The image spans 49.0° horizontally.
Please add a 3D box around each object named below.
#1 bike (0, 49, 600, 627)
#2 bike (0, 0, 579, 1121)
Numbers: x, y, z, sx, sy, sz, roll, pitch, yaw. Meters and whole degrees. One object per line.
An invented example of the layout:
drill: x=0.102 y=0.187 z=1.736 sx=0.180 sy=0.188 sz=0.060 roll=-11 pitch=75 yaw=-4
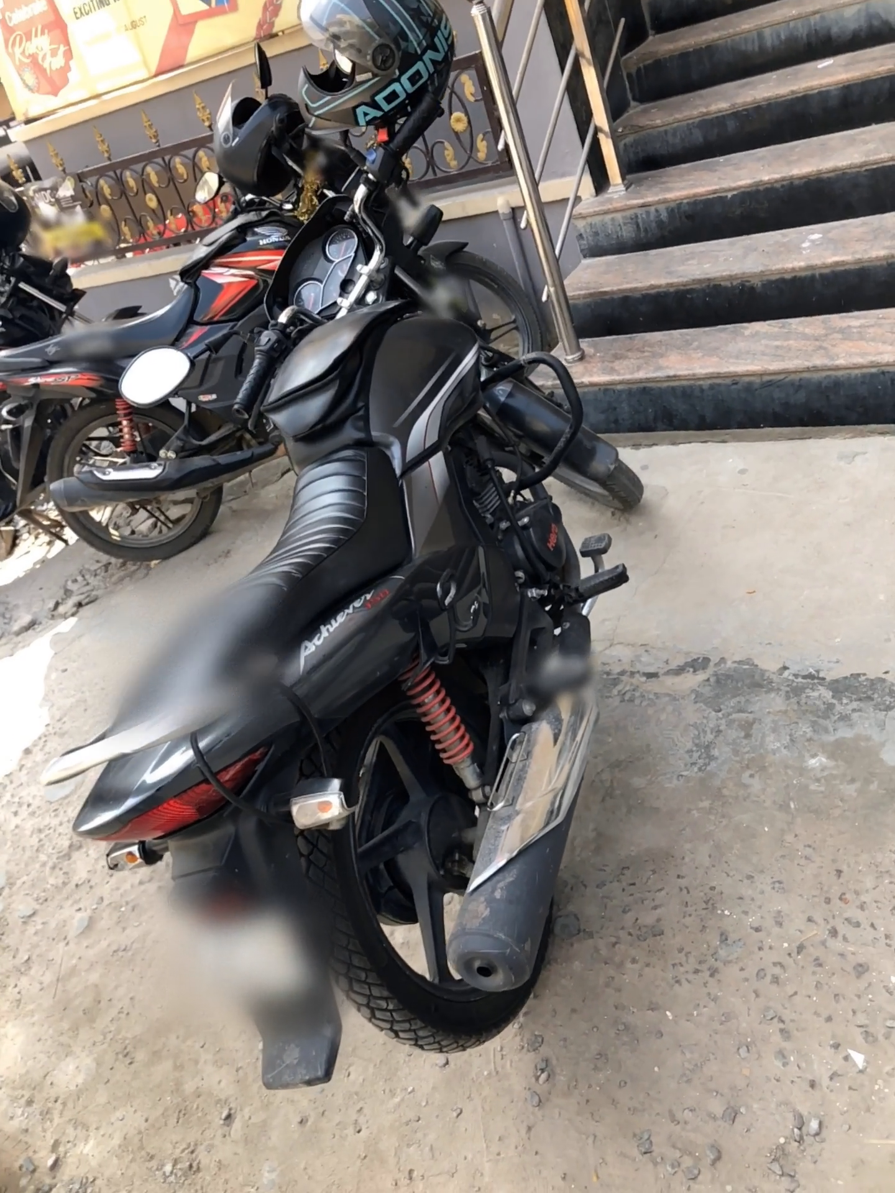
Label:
bike: x=-0.526 y=-0.809 z=2.996 sx=1.599 sy=1.056 sz=0.687 roll=-26 pitch=31 yaw=-10
bike: x=-0.260 y=-0.249 z=1.872 sx=0.747 sy=1.156 sz=1.744 roll=-11 pitch=36 yaw=17
